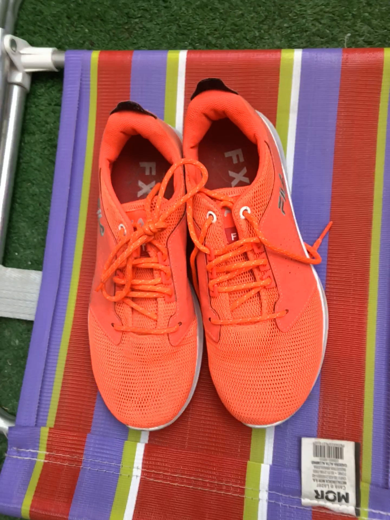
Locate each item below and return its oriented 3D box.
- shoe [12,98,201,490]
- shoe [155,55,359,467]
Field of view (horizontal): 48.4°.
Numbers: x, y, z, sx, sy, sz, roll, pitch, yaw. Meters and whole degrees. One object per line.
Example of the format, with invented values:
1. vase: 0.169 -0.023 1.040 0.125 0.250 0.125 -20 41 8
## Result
1. shoe: -0.054 0.021 0.309 0.100 0.100 0.230 -2 83 6
2. shoe: 0.042 0.002 0.316 0.100 0.090 0.250 -7 82 12
